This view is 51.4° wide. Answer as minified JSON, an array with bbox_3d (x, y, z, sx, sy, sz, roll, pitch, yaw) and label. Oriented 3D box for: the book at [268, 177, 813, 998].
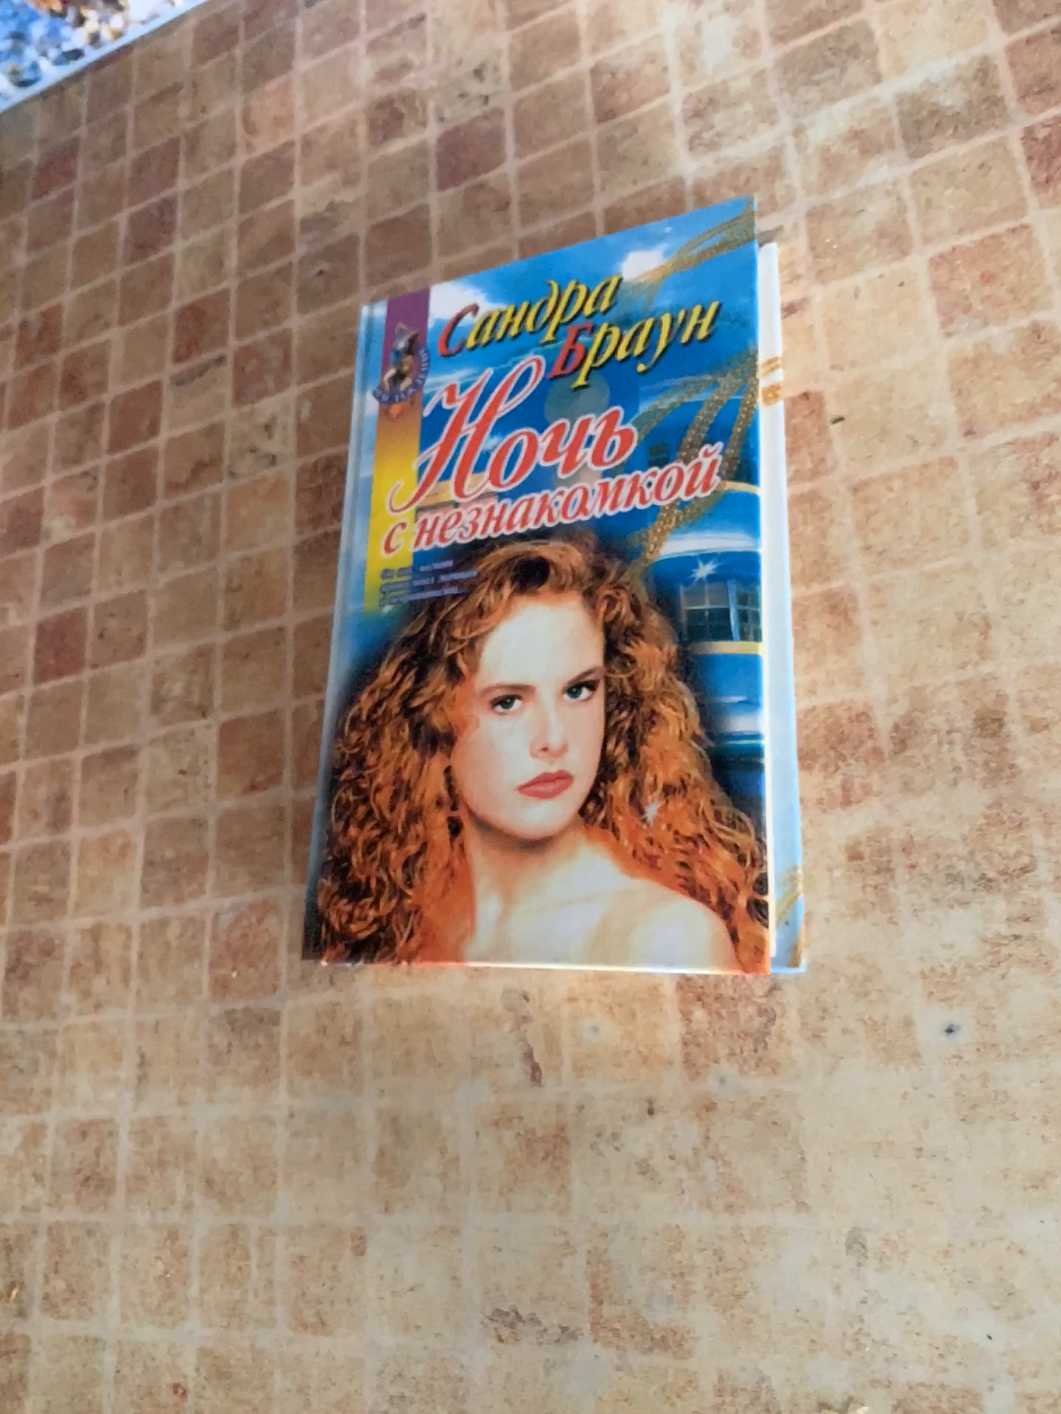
[{"bbox_3d":[0.003,-0.029,0.289,0.130,0.029,0.198,-5,72,26],"label":"book"}]
